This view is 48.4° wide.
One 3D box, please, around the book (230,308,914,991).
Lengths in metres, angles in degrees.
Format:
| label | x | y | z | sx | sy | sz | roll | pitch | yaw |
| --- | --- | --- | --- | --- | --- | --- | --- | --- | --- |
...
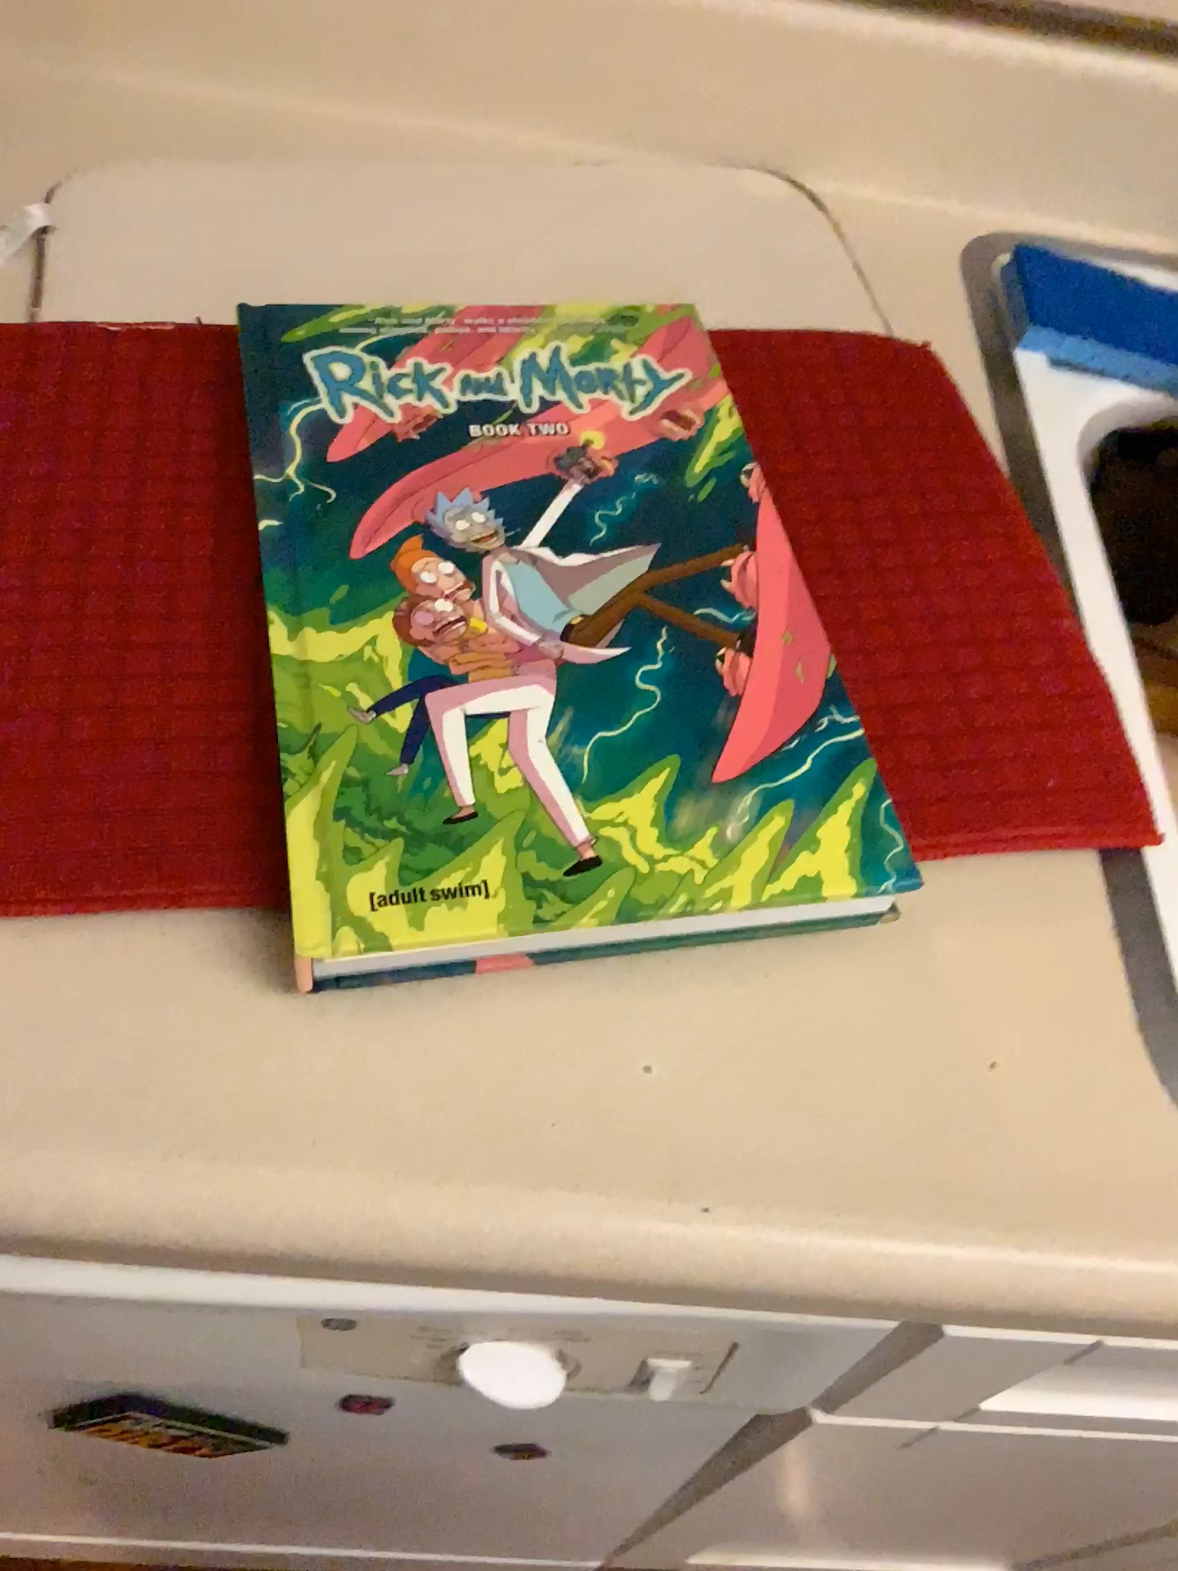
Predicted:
| label | x | y | z | sx | sy | sz | roll | pitch | yaw |
| --- | --- | --- | --- | --- | --- | --- | --- | --- | --- |
| book | -0.024 | -0.075 | 0.495 | 0.200 | 0.030 | 0.300 | -5 | 55 | -14 |
